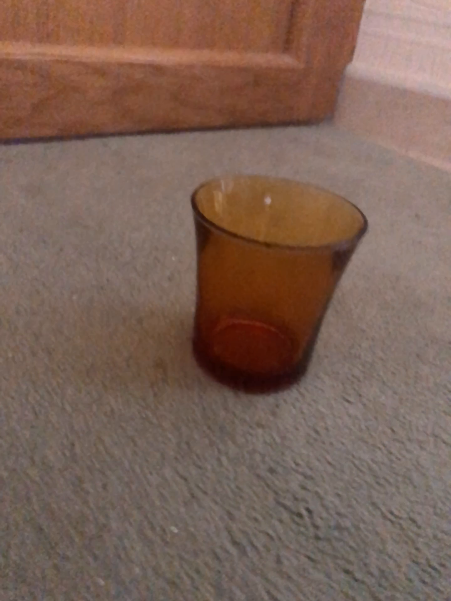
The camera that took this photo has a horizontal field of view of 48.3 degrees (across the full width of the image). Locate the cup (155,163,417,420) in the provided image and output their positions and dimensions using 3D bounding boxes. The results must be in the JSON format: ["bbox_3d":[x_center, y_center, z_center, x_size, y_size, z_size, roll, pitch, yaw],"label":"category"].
[{"bbox_3d":[0.021,-0.010,0.213,0.070,0.070,0.070,6,31,-4],"label":"cup"}]
